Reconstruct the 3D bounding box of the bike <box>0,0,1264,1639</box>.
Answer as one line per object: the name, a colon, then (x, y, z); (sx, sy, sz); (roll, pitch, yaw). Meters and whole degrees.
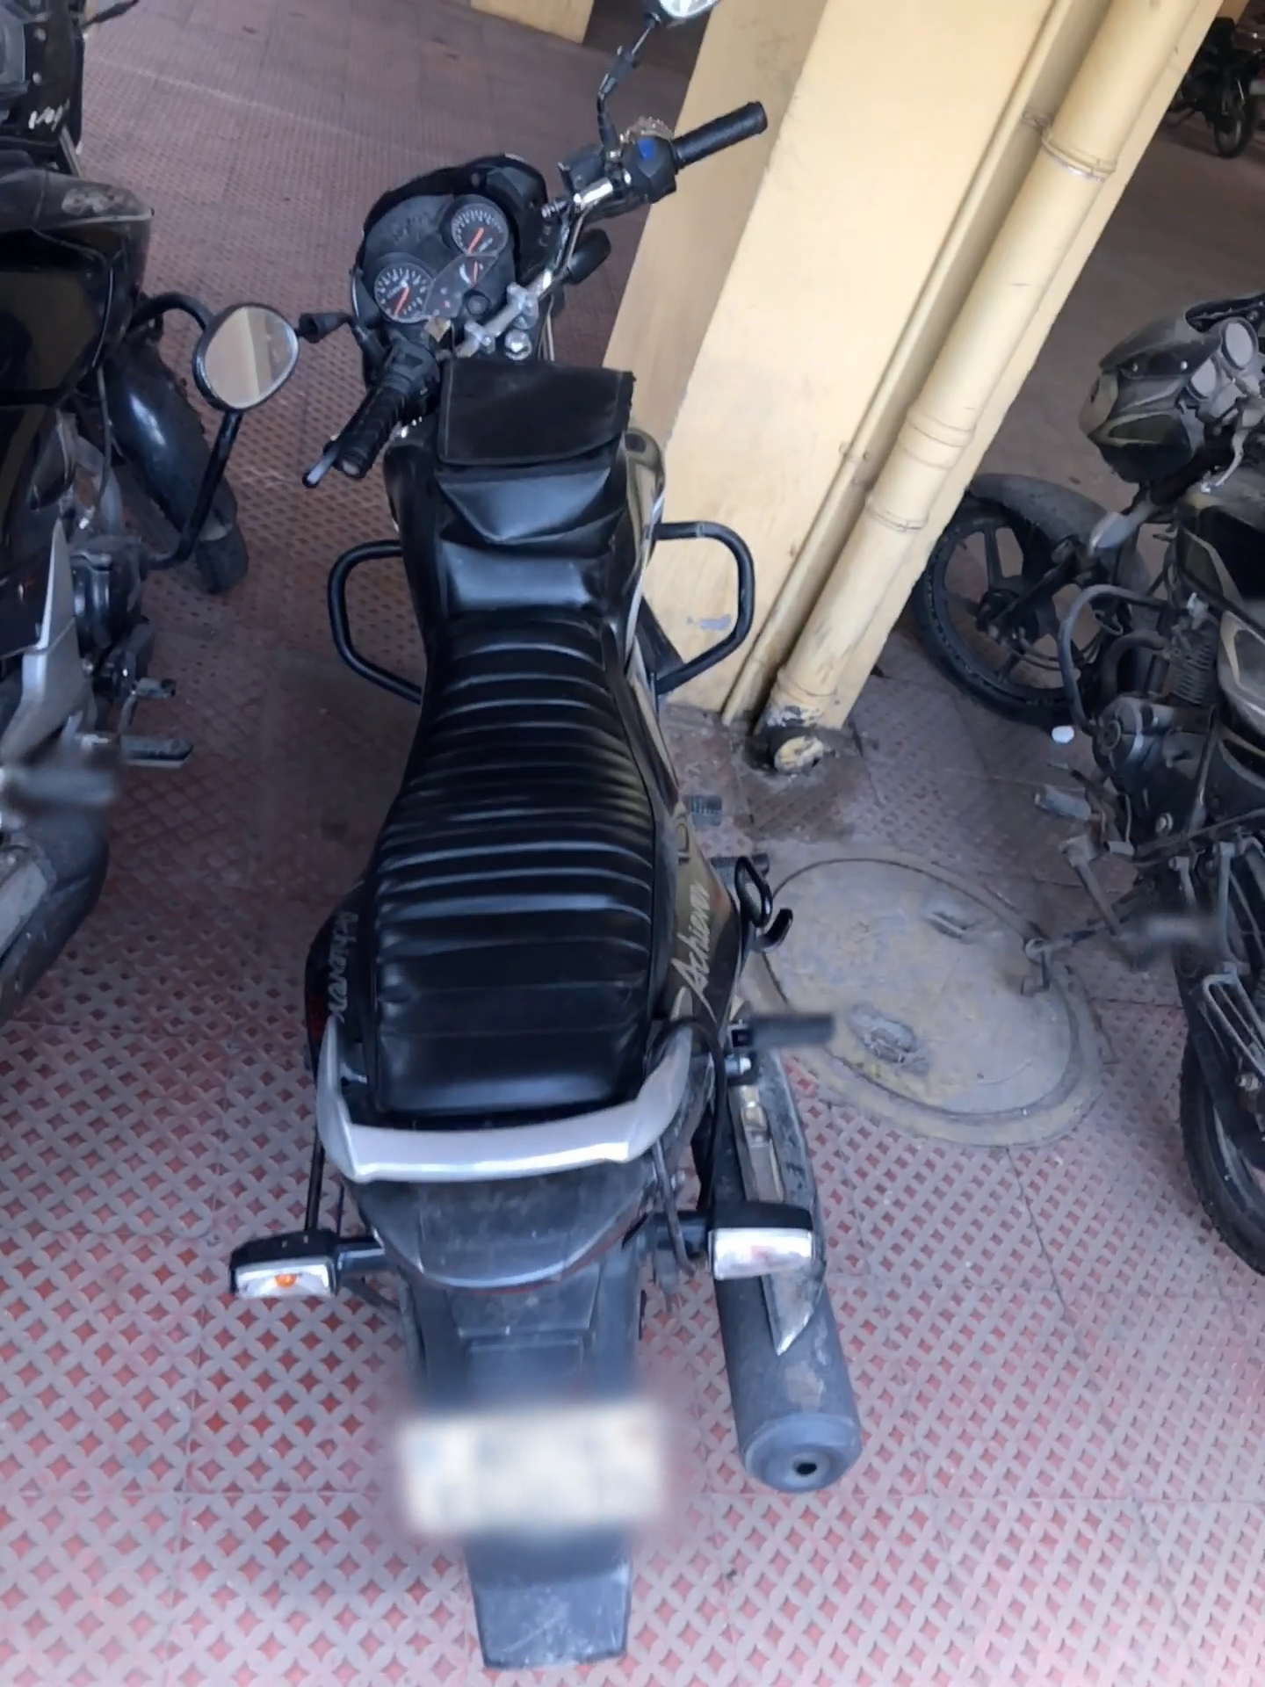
bike: (-0.273, -0.235, 1.641); (0.731, 1.125, 1.767); (6, 41, -20)
